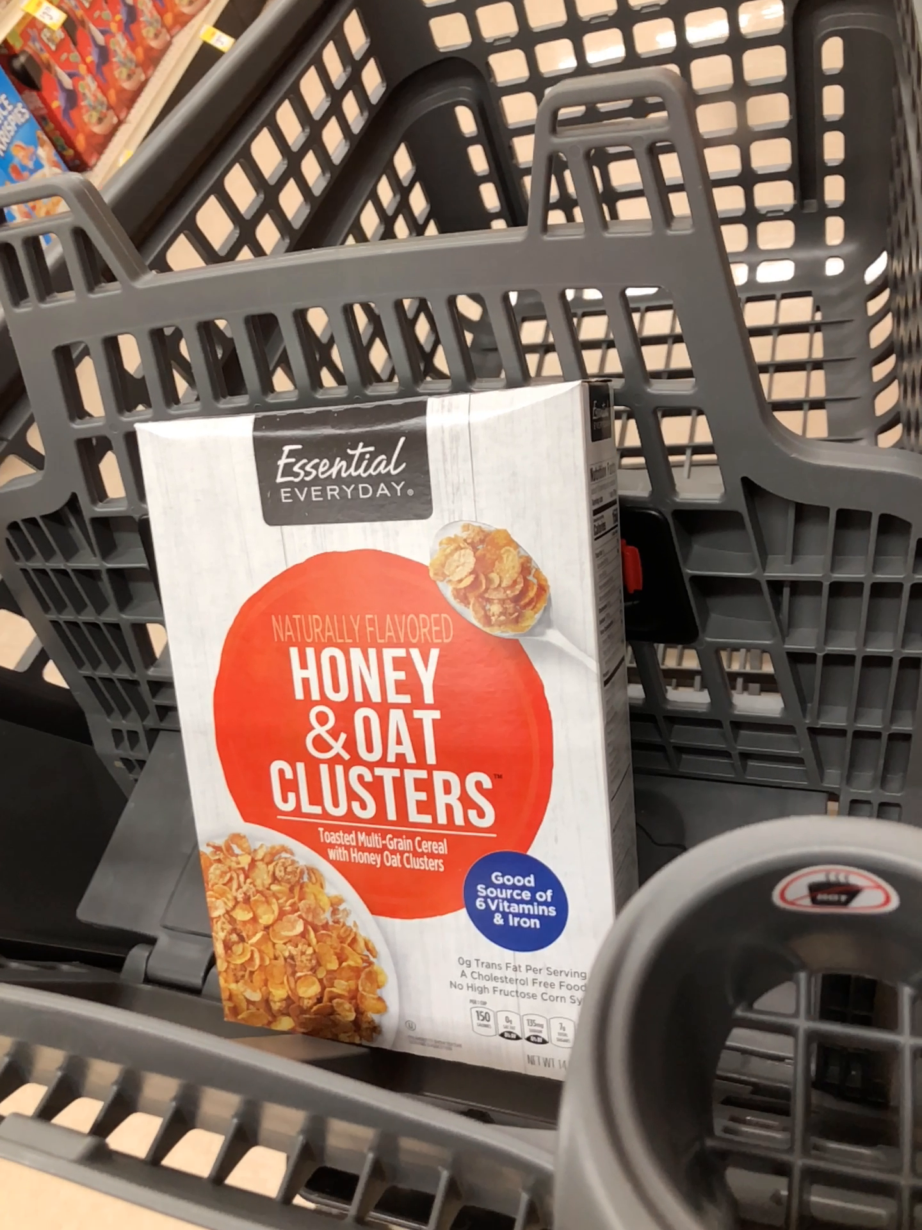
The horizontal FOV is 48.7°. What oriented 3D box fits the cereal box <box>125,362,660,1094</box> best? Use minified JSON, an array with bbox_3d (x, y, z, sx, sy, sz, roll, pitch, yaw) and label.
[{"bbox_3d":[-0.023,0.044,0.439,0.190,0.280,0.070,0,13,22],"label":"cereal box"}]
